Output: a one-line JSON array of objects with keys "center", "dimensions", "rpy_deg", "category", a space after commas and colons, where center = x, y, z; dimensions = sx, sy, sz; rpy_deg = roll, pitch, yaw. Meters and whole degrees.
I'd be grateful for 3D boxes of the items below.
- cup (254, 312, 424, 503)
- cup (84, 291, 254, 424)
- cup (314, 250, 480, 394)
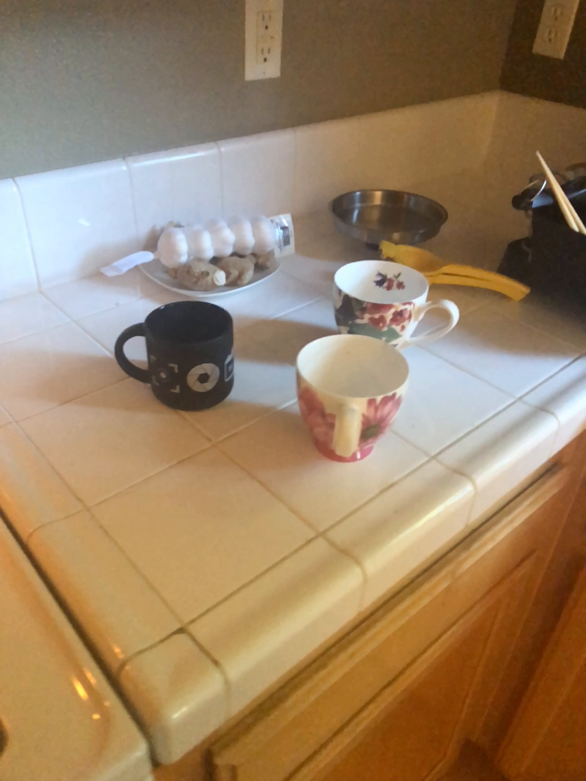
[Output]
[{"center": [0.045, 0.008, 0.595], "dimensions": [0.110, 0.079, 0.151], "rpy_deg": [15, 38, 15], "category": "cup"}, {"center": [-0.125, -0.039, 0.683], "dimensions": [0.140, 0.069, 0.111], "rpy_deg": [10, 37, 10], "category": "cup"}, {"center": [0.119, -0.085, 0.750], "dimensions": [0.150, 0.089, 0.111], "rpy_deg": [21, 40, 22], "category": "cup"}]
